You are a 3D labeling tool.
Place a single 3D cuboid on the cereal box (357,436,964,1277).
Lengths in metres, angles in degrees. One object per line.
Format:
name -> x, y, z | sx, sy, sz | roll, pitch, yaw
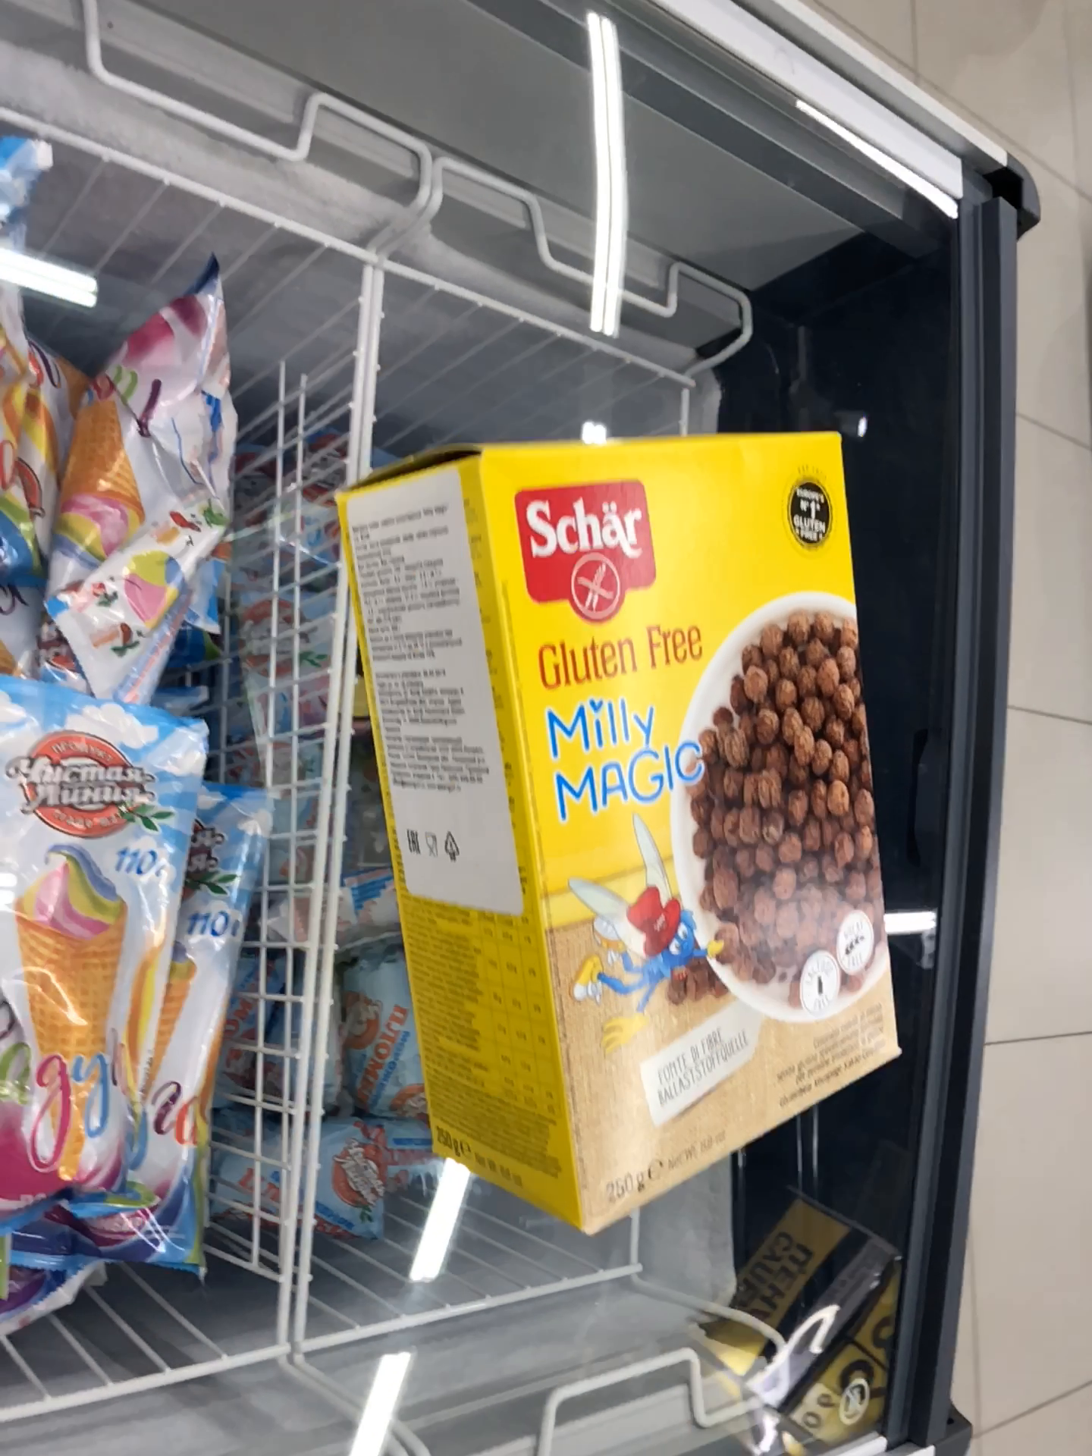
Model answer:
cereal box -> 0.045, 0.024, 0.387 | 0.171, 0.070, 0.220 | -10, 97, -37
